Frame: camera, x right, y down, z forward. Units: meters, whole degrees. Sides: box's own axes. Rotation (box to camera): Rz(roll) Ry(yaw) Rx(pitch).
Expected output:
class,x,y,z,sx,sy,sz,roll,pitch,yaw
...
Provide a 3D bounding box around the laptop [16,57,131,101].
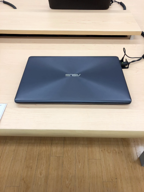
class,x,y,z,sx,sy,sz,roll,pitch,yaw
laptop,0.002,-0.071,0.554,0.345,0.002,0.229,0,47,1
